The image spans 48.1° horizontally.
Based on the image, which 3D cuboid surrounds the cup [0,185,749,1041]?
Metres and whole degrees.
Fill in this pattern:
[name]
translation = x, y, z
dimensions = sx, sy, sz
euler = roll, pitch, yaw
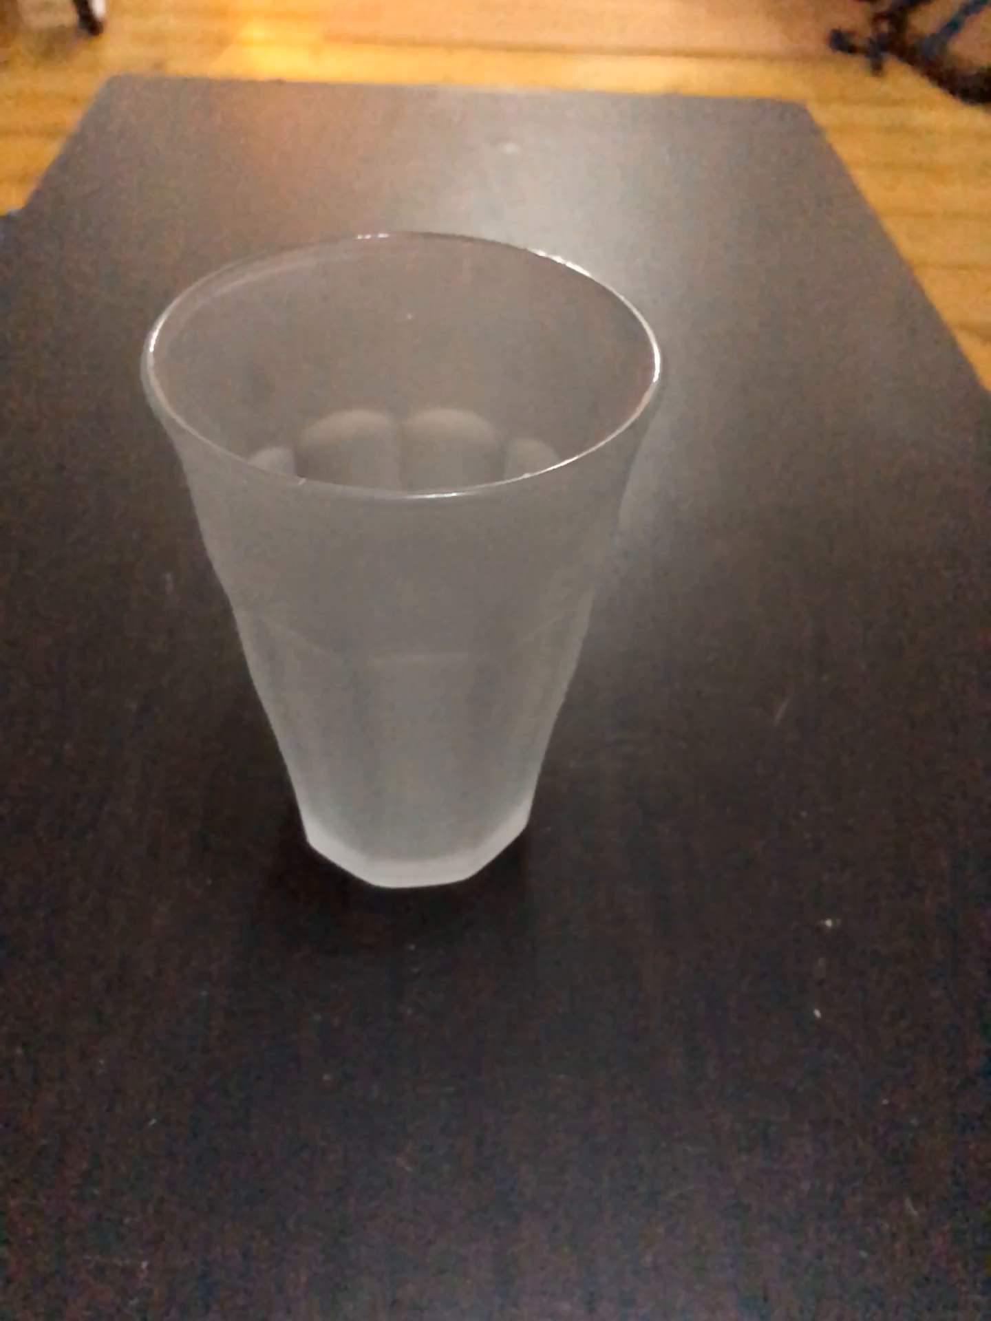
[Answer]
[cup]
translation = -0.024, -0.012, 0.241
dimensions = 0.100, 0.129, 0.090
euler = -33, 55, -32
